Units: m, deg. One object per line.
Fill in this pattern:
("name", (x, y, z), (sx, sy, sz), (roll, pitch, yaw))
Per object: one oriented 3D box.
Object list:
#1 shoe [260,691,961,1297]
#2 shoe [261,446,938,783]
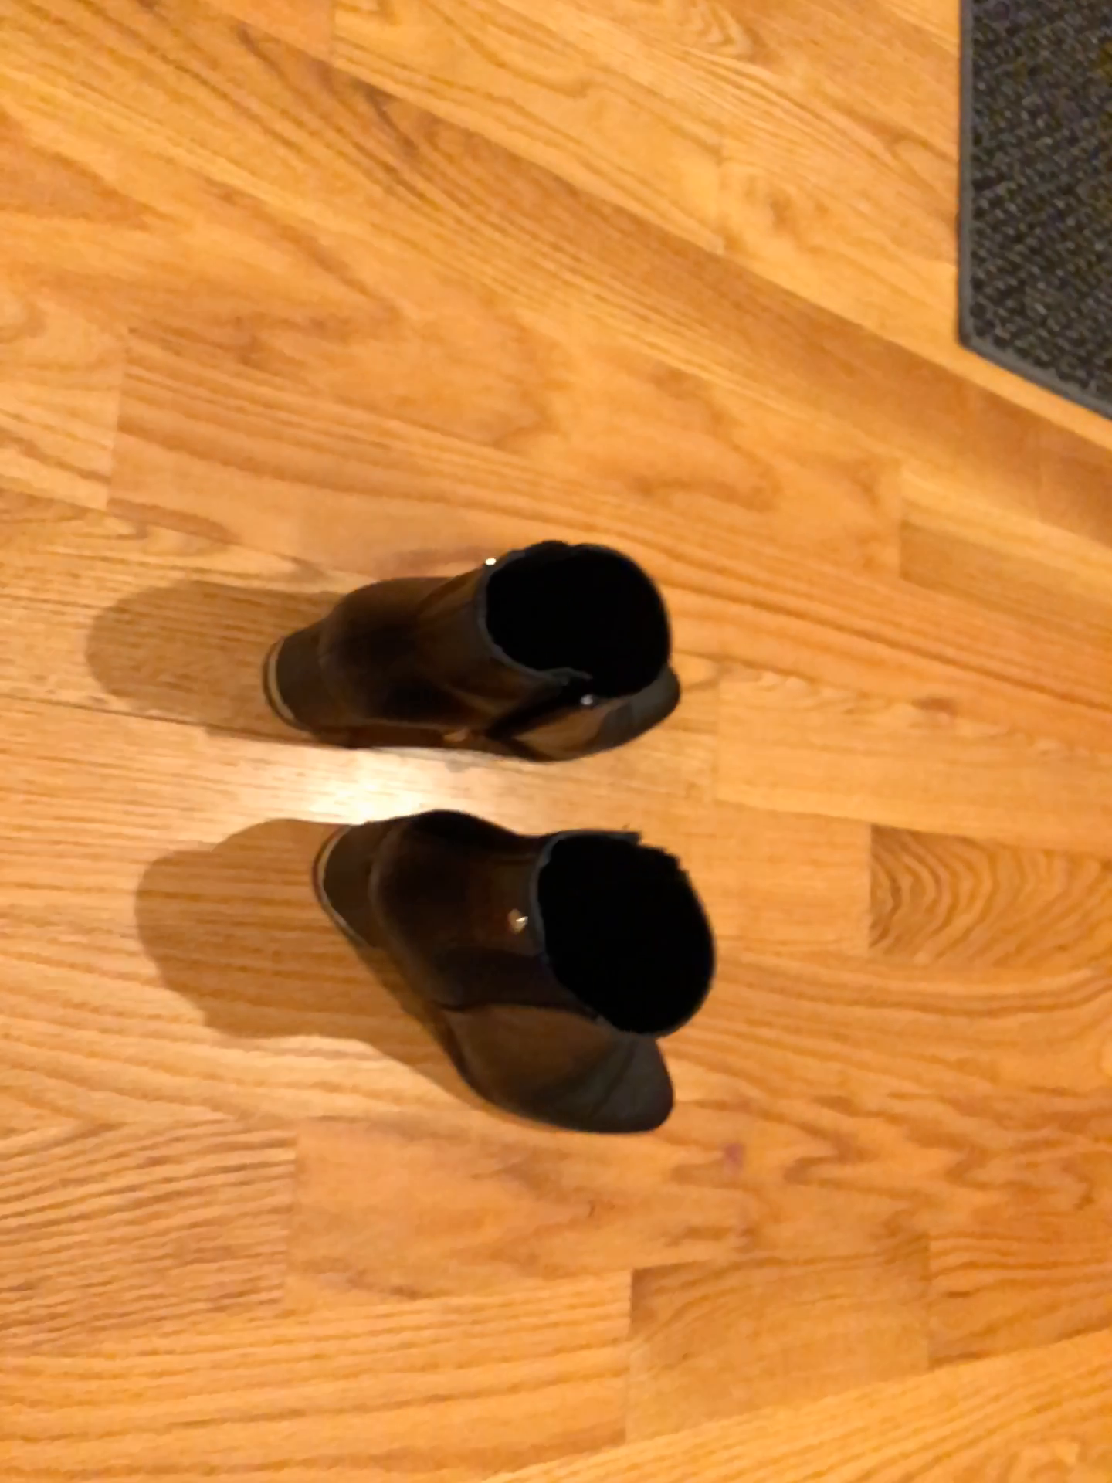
("shoe", (0.021, 0.107, 0.526), (0.236, 0.175, 0.095), (48, 60, -21))
("shoe", (0.017, -0.038, 0.542), (0.237, 0.175, 0.095), (3, 83, -35))
